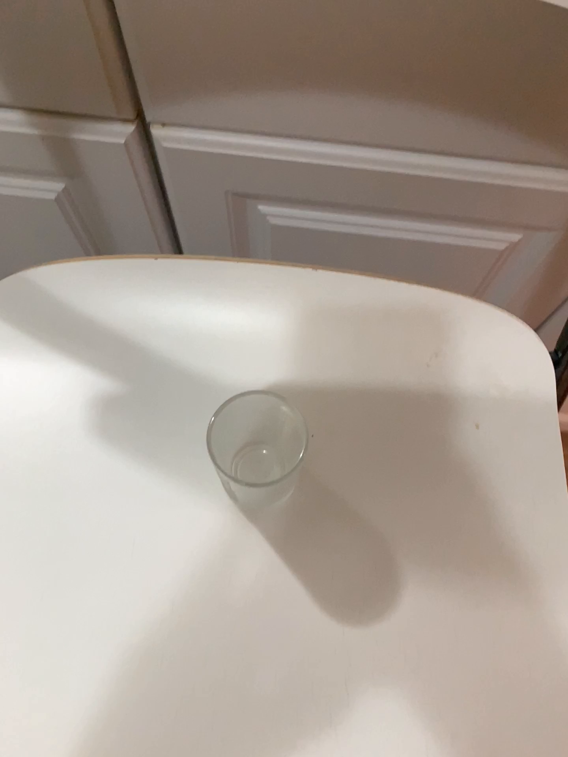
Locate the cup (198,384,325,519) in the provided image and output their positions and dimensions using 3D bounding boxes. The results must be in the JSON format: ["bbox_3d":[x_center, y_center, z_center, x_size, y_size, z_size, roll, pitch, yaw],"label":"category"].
[{"bbox_3d":[-0.009,0.038,0.279,0.049,0.076,0.042,5,68,1],"label":"cup"}]
